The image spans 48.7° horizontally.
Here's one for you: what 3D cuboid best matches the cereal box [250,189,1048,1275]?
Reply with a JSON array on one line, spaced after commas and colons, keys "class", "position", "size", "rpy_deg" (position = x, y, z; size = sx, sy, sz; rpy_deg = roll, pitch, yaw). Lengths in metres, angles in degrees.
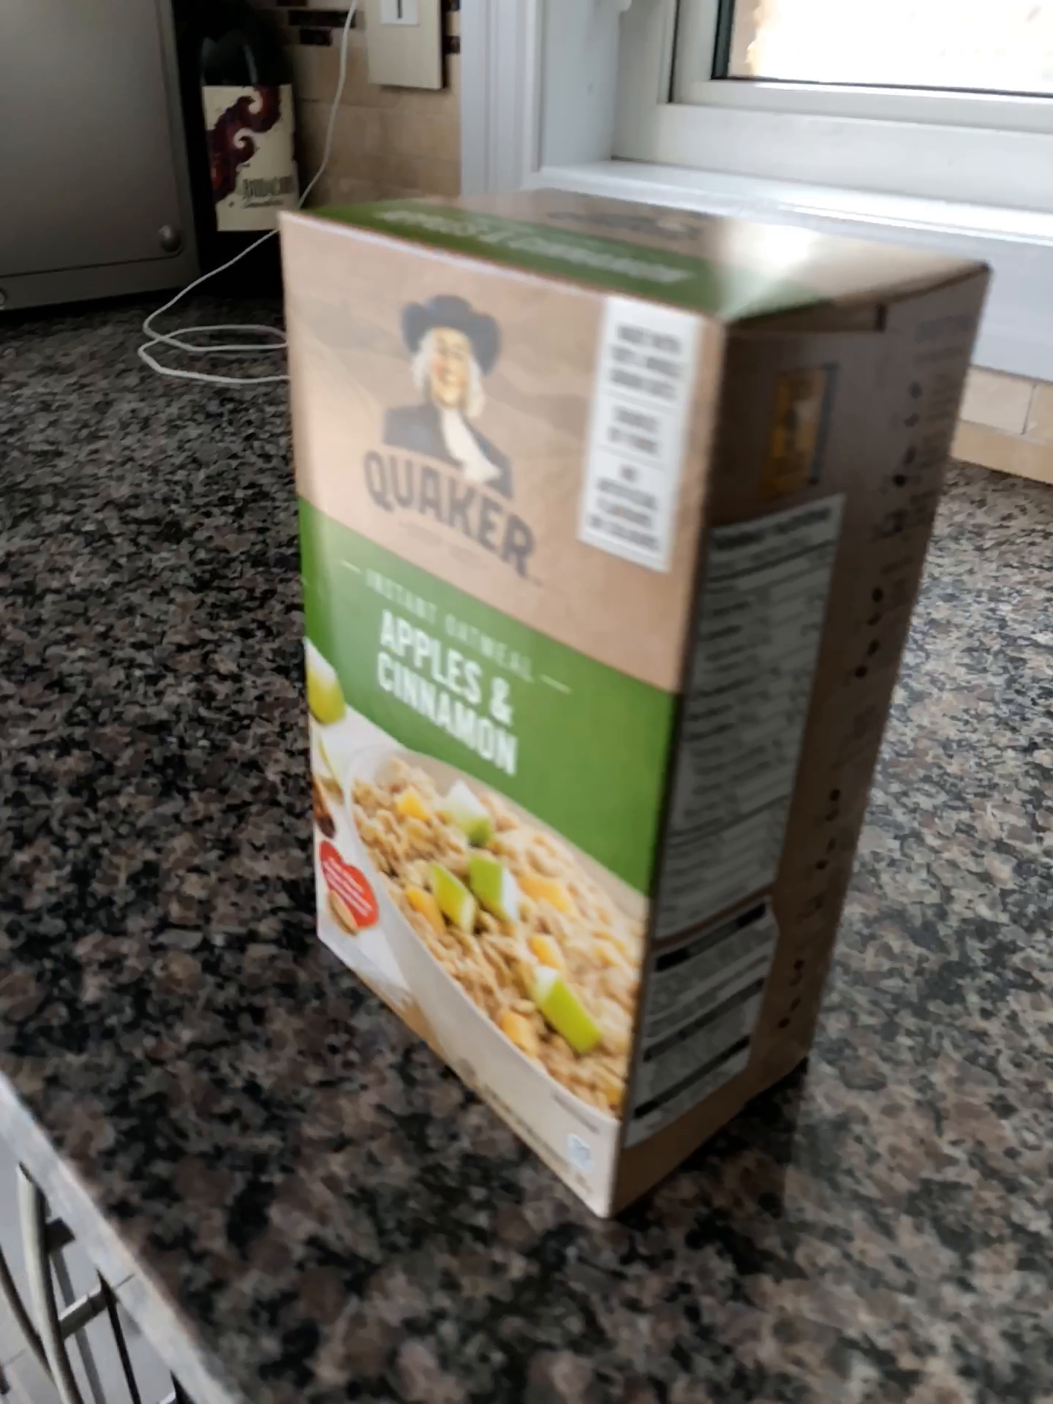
[{"class": "cereal box", "position": [0.016, 0.000, 0.280], "size": [0.090, 0.209, 0.130], "rpy_deg": [-22, 38, -35]}]
